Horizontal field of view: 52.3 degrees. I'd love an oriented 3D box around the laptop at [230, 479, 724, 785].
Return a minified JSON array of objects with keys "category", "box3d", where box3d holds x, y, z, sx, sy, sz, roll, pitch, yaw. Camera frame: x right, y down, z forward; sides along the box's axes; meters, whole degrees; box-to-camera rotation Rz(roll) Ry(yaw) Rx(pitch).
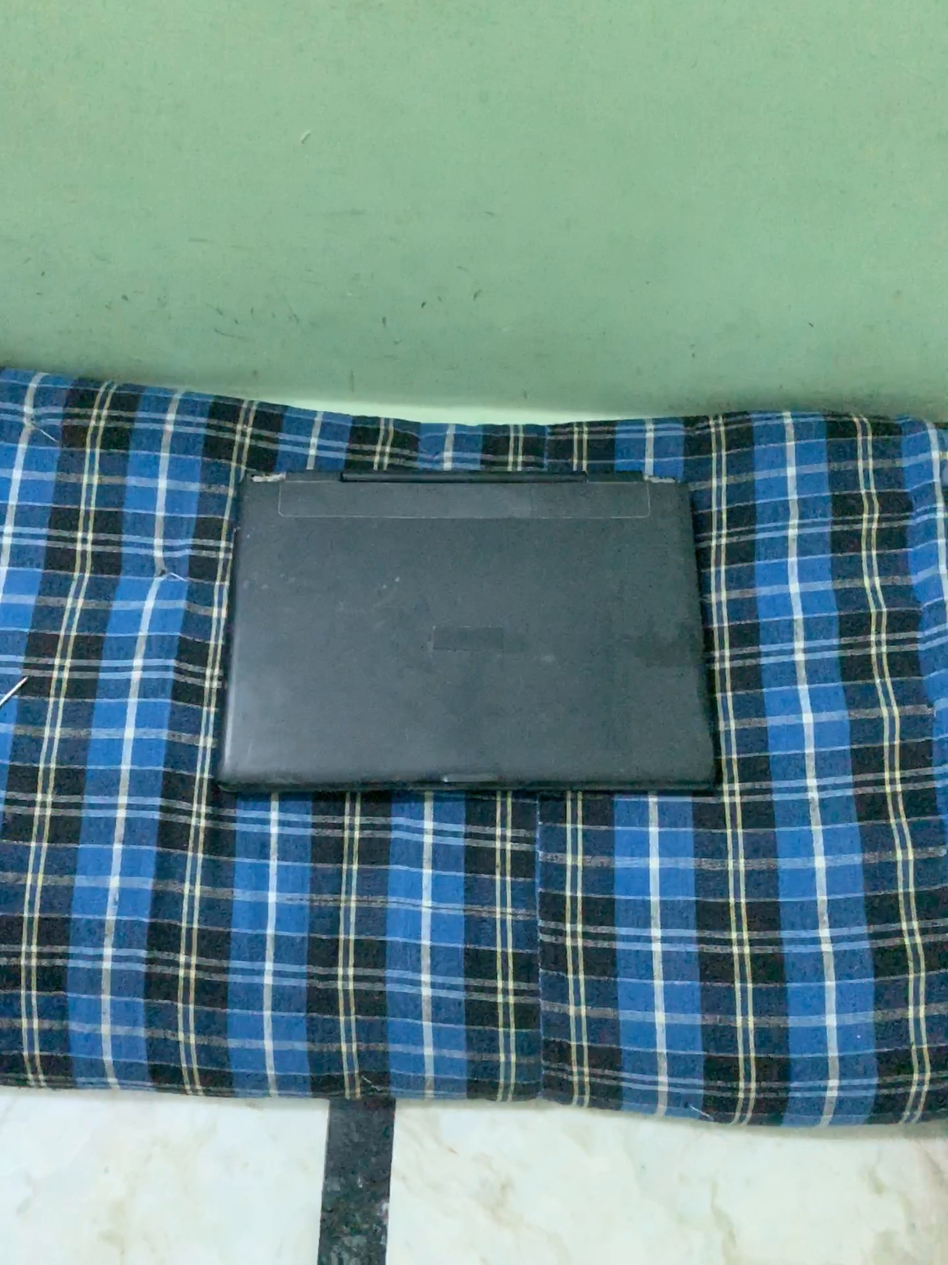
[{"category":"laptop","box3d":[0.004,-0.005,0.670,0.323,0.005,0.216,1,71,-1]}]
